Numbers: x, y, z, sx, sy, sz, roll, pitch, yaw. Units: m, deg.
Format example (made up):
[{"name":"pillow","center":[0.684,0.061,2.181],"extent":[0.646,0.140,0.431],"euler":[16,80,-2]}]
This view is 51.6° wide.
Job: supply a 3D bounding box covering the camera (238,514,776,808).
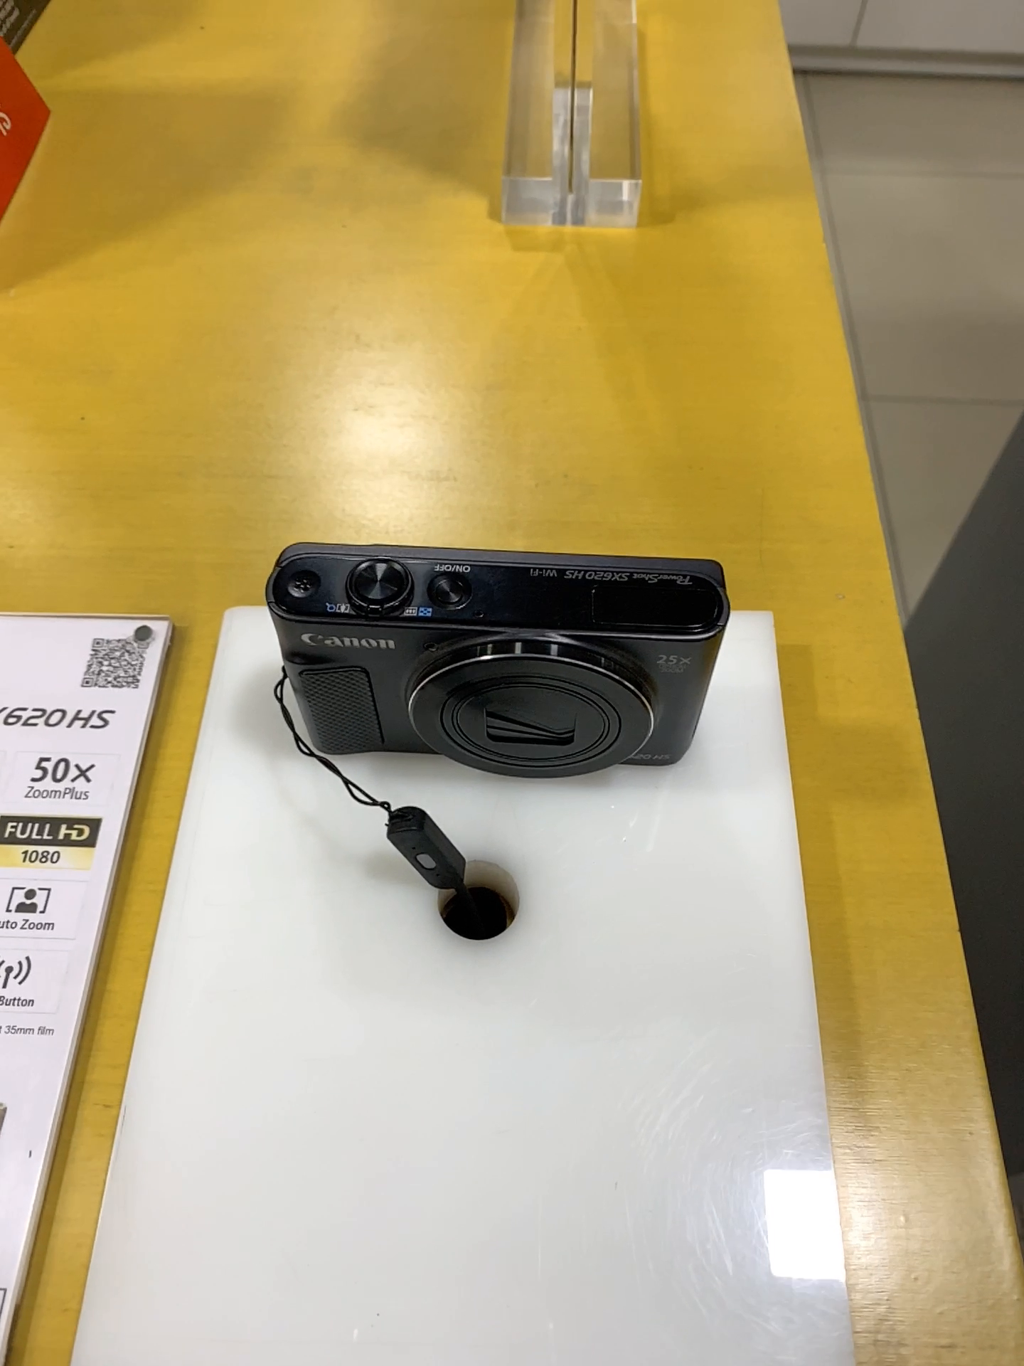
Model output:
[{"name":"camera","center":[-0.001,-0.003,0.230],"extent":[0.100,0.060,0.030],"euler":[4,59,2]}]
